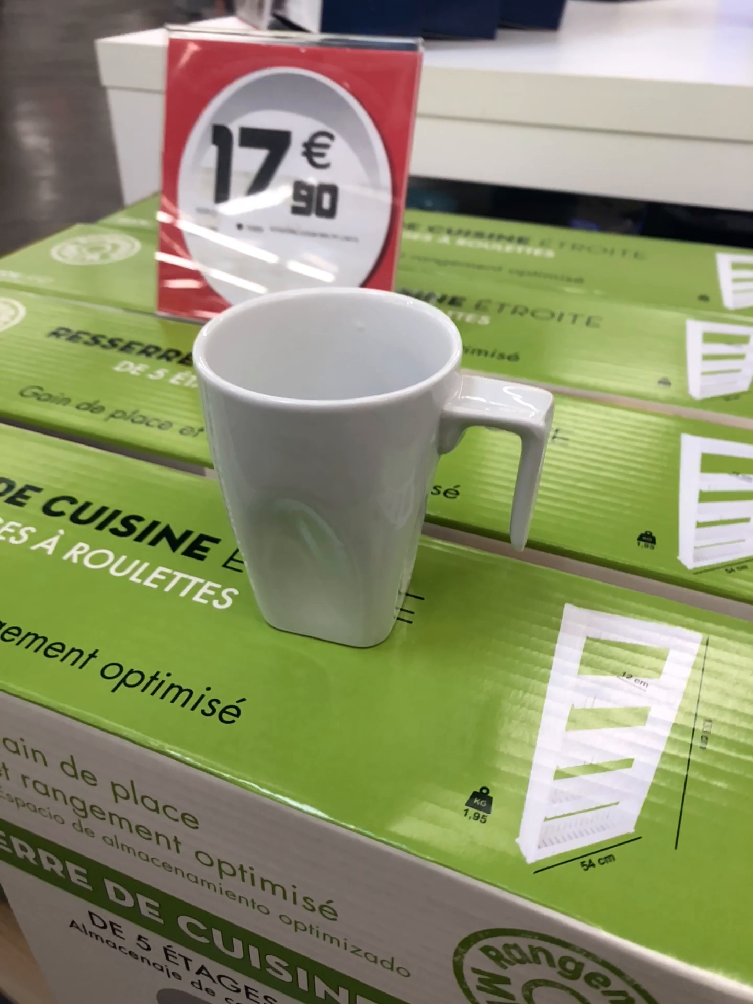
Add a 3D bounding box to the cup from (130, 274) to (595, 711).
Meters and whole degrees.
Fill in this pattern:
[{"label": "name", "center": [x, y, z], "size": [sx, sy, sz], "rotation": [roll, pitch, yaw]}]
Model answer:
[{"label": "cup", "center": [0.001, -0.009, 0.264], "size": [0.111, 0.087, 0.083], "rotation": [12, 36, 15]}]
